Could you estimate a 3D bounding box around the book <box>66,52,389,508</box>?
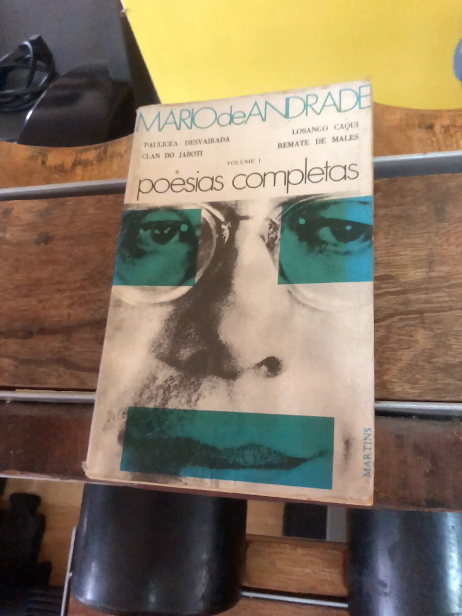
[{"bbox_3d":[0.003,-0.022,0.252,0.140,0.020,0.210,0,75,15],"label":"book"}]
